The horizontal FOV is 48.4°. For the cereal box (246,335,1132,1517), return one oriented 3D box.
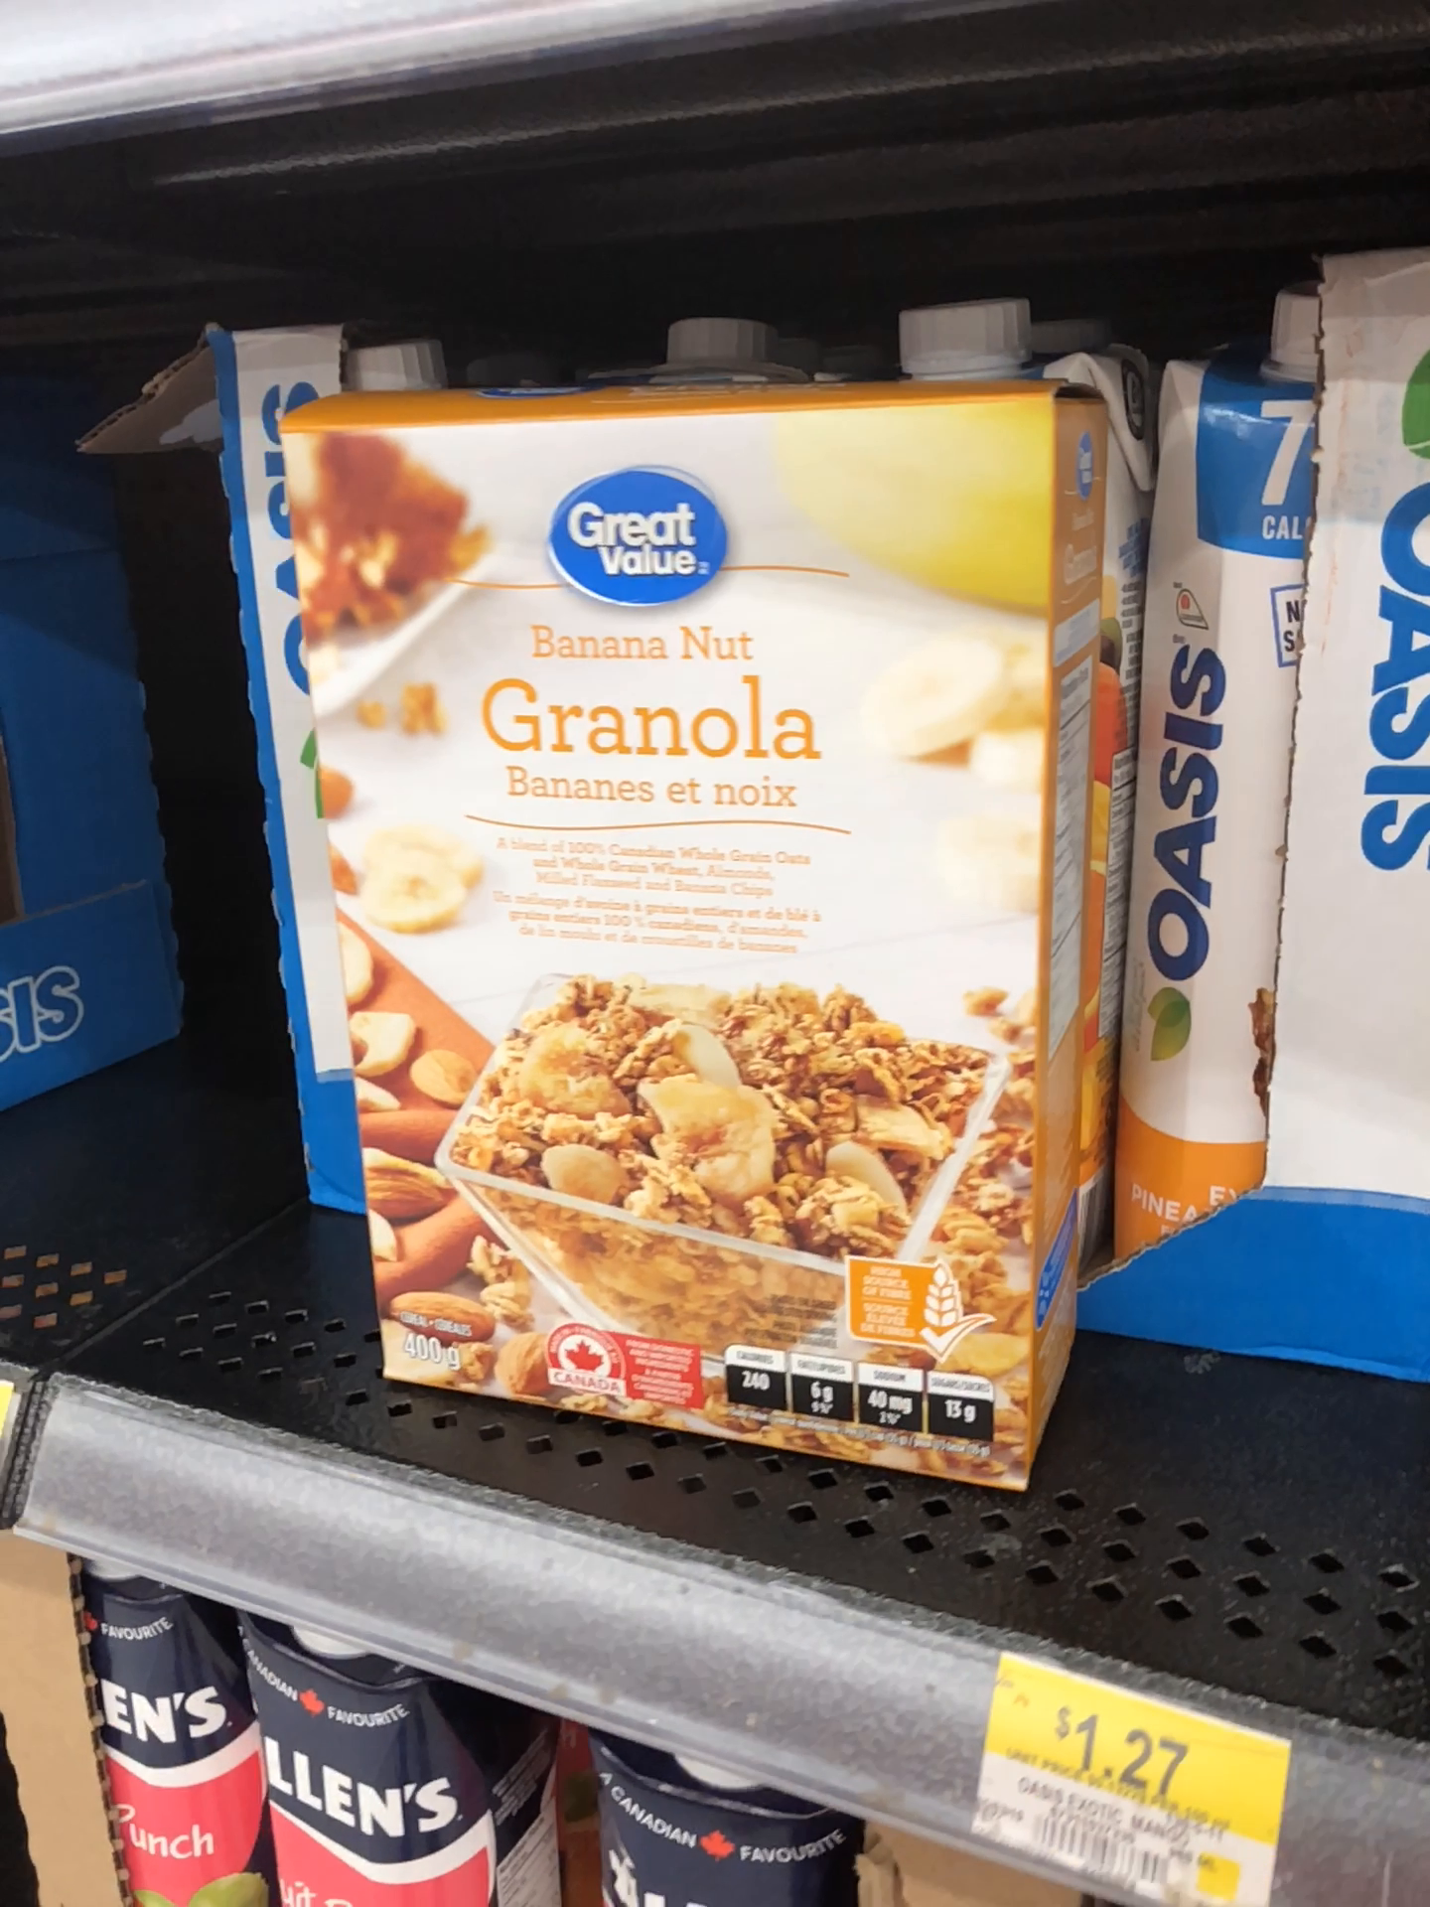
[{"bbox_3d":[-0.002,-0.008,0.338,0.160,0.219,0.060,4,17,19],"label":"cereal box"}]
